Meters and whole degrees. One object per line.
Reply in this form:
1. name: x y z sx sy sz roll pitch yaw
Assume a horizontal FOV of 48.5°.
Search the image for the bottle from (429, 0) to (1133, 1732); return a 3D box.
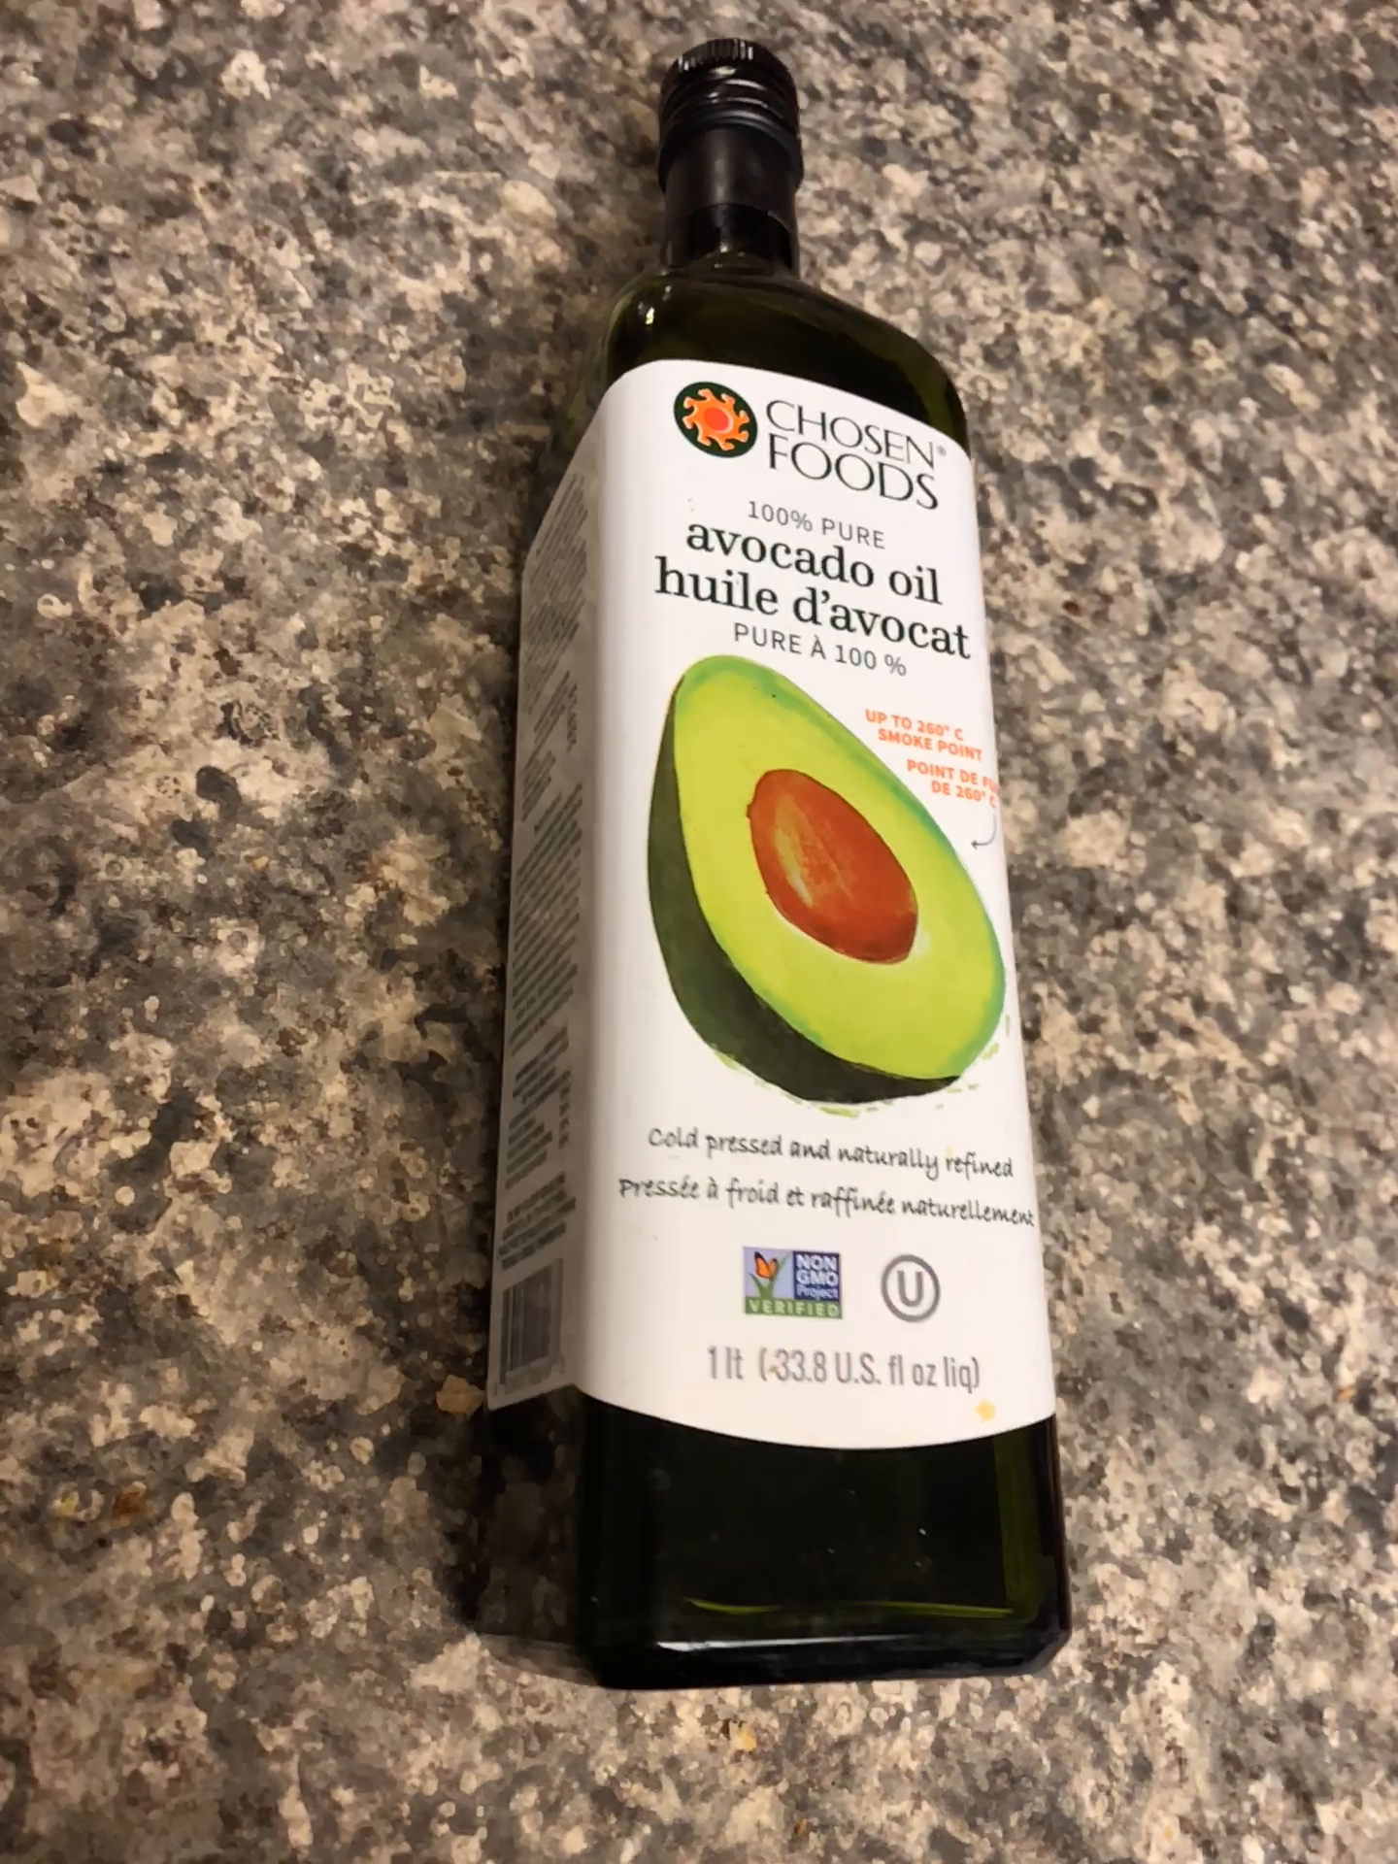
1. bottle: 0.009 -0.042 0.279 0.080 0.070 0.321 8 68 -19
